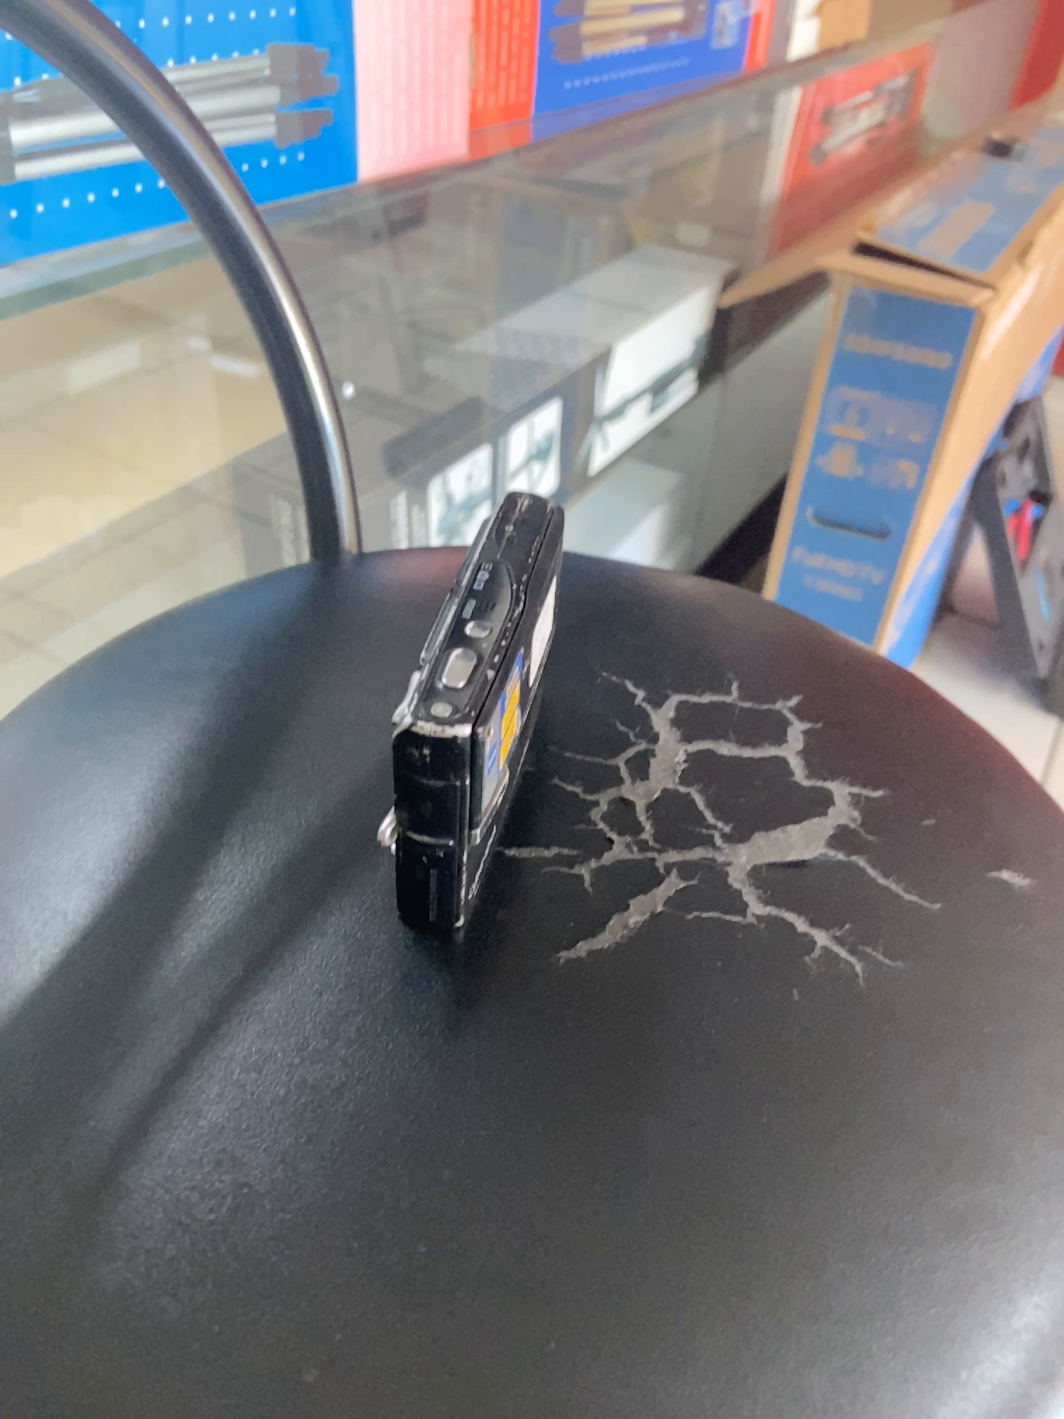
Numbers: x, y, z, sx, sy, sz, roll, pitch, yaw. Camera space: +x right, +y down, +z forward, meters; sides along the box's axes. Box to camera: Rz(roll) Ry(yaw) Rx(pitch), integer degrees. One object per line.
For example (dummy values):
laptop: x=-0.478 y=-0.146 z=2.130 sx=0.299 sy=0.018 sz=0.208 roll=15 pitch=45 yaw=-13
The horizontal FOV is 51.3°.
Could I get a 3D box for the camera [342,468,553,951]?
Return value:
camera: x=-0.016 y=-0.005 z=0.253 sx=0.020 sy=0.060 sz=0.101 roll=9 pitch=38 yaw=7
